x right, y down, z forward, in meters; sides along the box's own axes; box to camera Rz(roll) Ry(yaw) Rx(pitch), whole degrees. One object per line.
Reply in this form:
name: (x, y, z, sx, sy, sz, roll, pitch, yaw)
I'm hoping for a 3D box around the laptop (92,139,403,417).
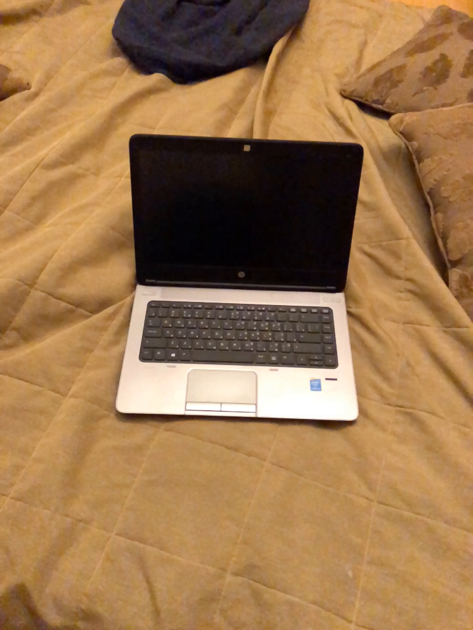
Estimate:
laptop: (0.013, -0.056, 0.729, 0.332, 0.189, 0.340, 2, 56, 0)
